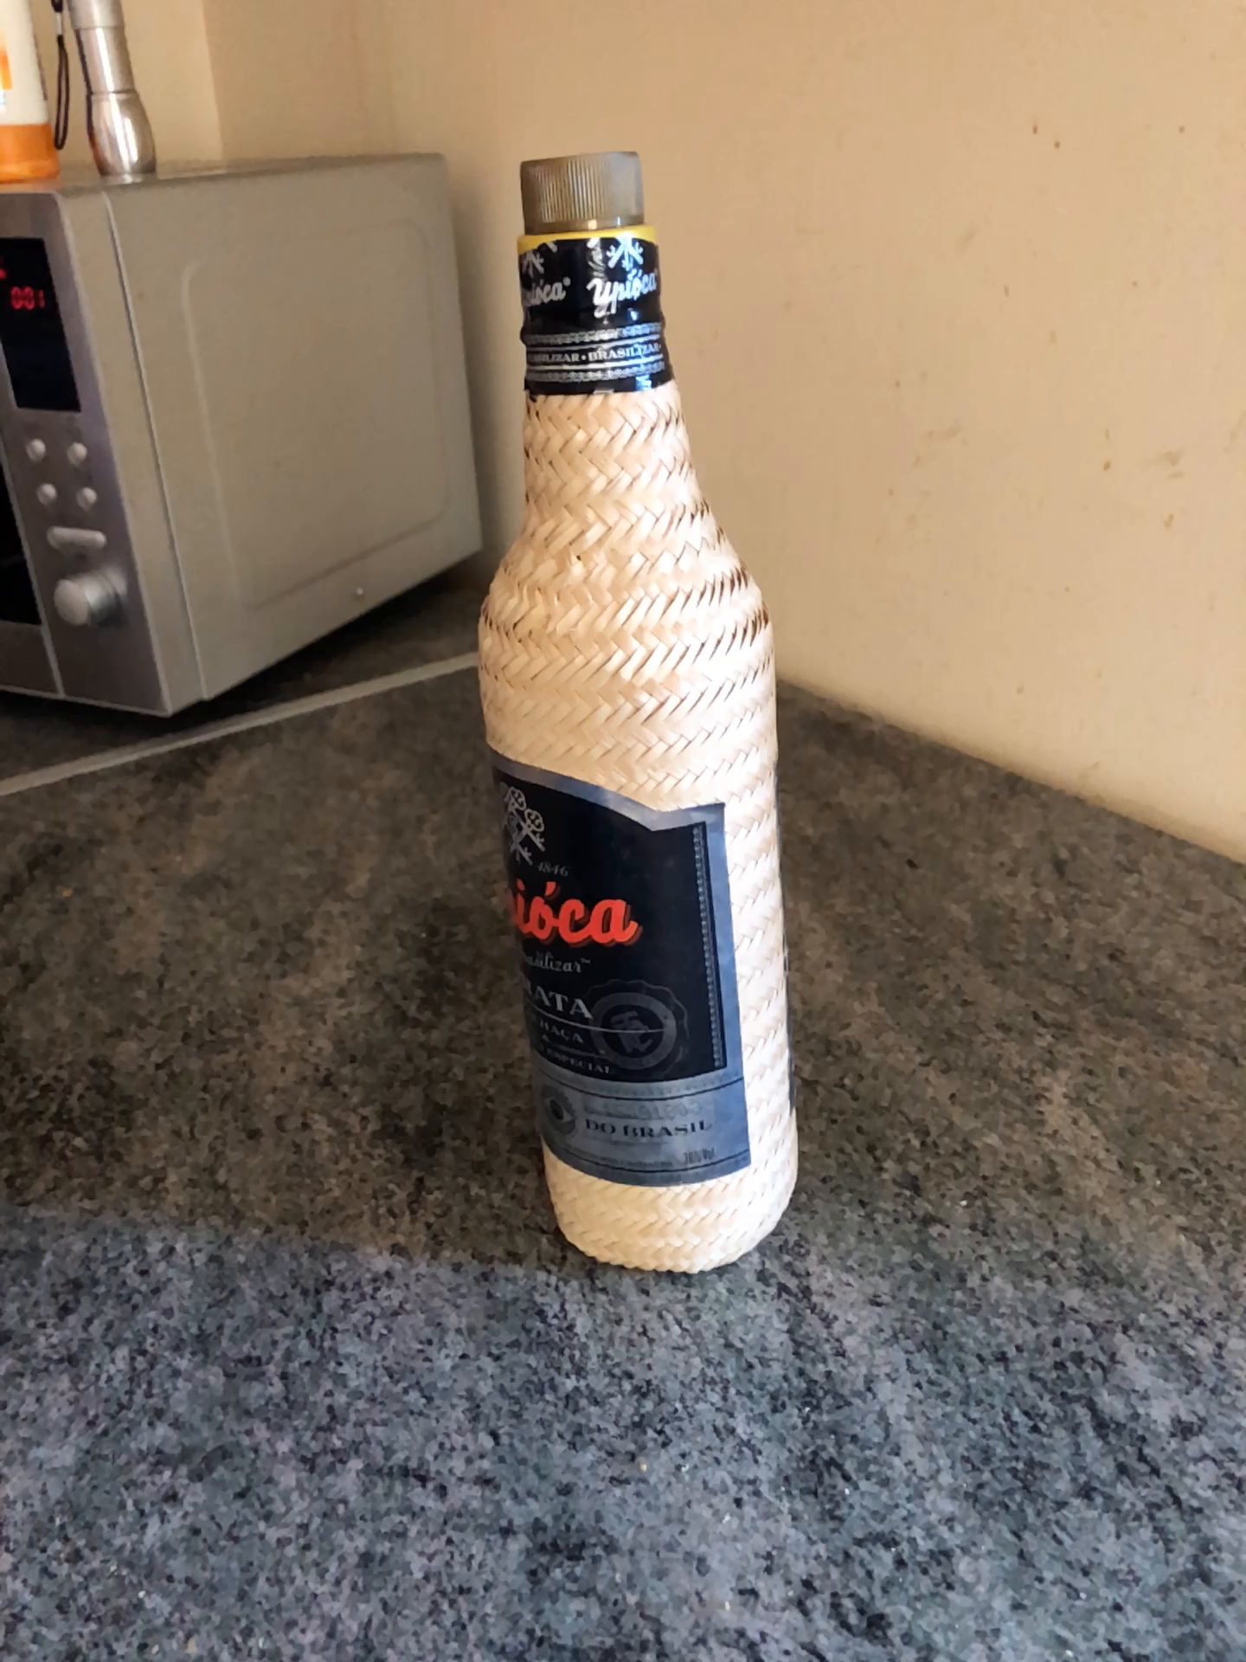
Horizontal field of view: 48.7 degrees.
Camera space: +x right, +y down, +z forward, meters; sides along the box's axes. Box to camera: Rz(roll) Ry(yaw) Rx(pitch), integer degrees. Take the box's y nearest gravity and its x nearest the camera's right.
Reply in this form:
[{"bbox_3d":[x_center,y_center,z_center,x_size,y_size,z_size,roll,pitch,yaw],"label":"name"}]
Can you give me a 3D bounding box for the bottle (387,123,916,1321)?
[{"bbox_3d":[0.007,-0.024,0.365,0.080,0.288,0.090,-16,29,-28],"label":"bottle"}]
